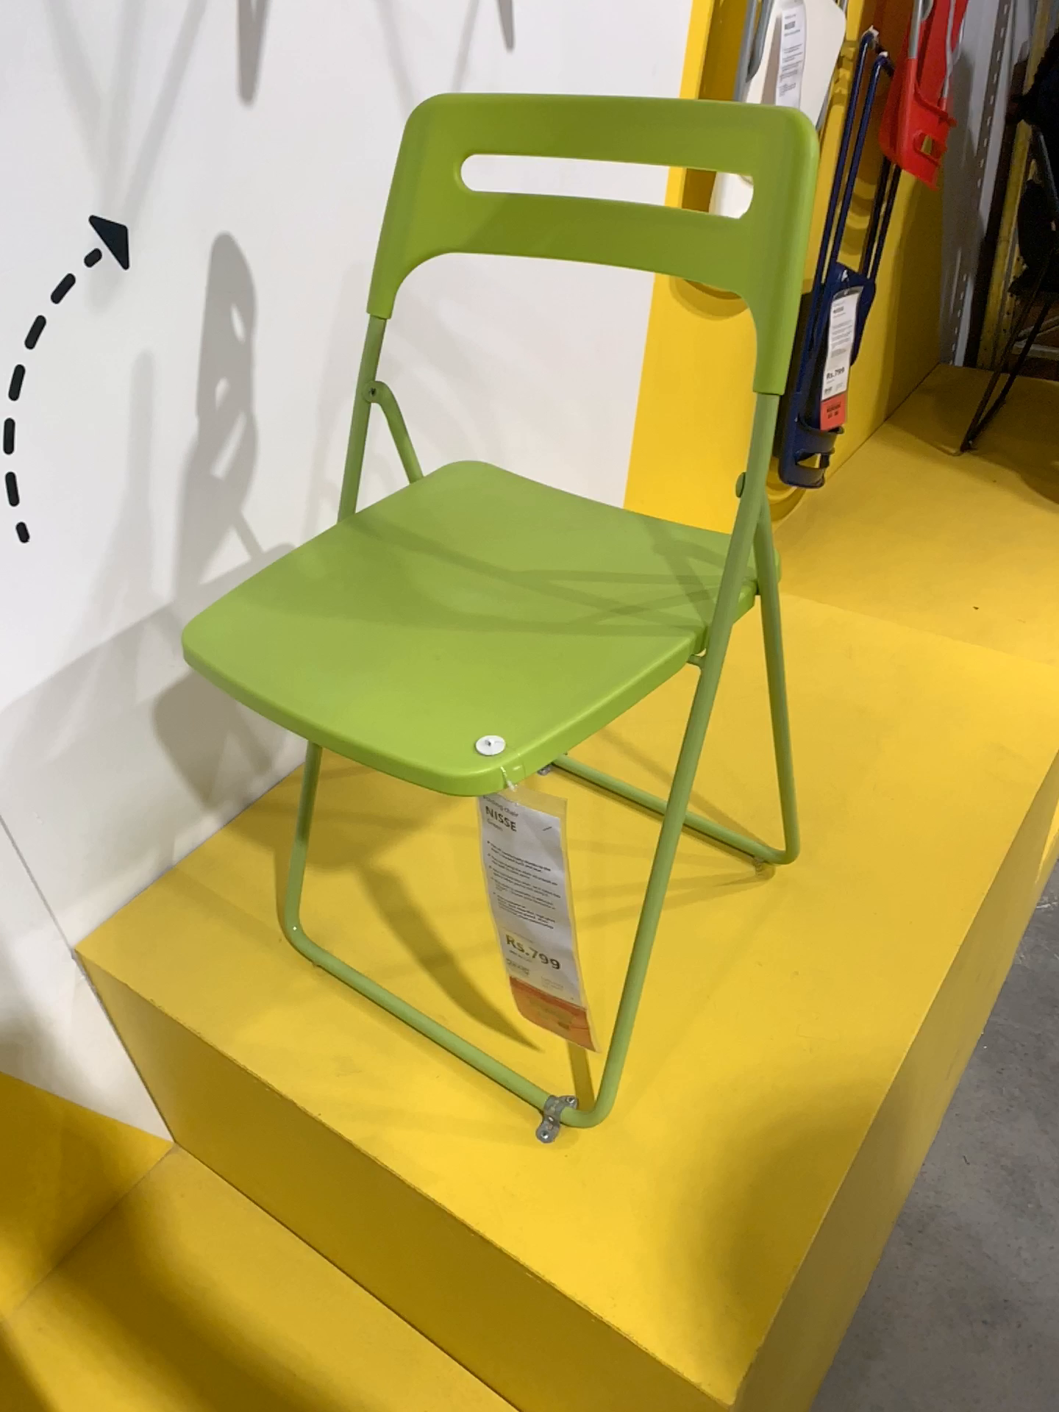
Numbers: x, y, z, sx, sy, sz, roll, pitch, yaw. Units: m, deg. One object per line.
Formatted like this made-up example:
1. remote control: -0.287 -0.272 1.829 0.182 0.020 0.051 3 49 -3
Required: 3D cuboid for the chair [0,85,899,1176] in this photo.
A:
1. chair: -0.033 -0.083 0.938 0.451 0.717 0.461 22 46 31
